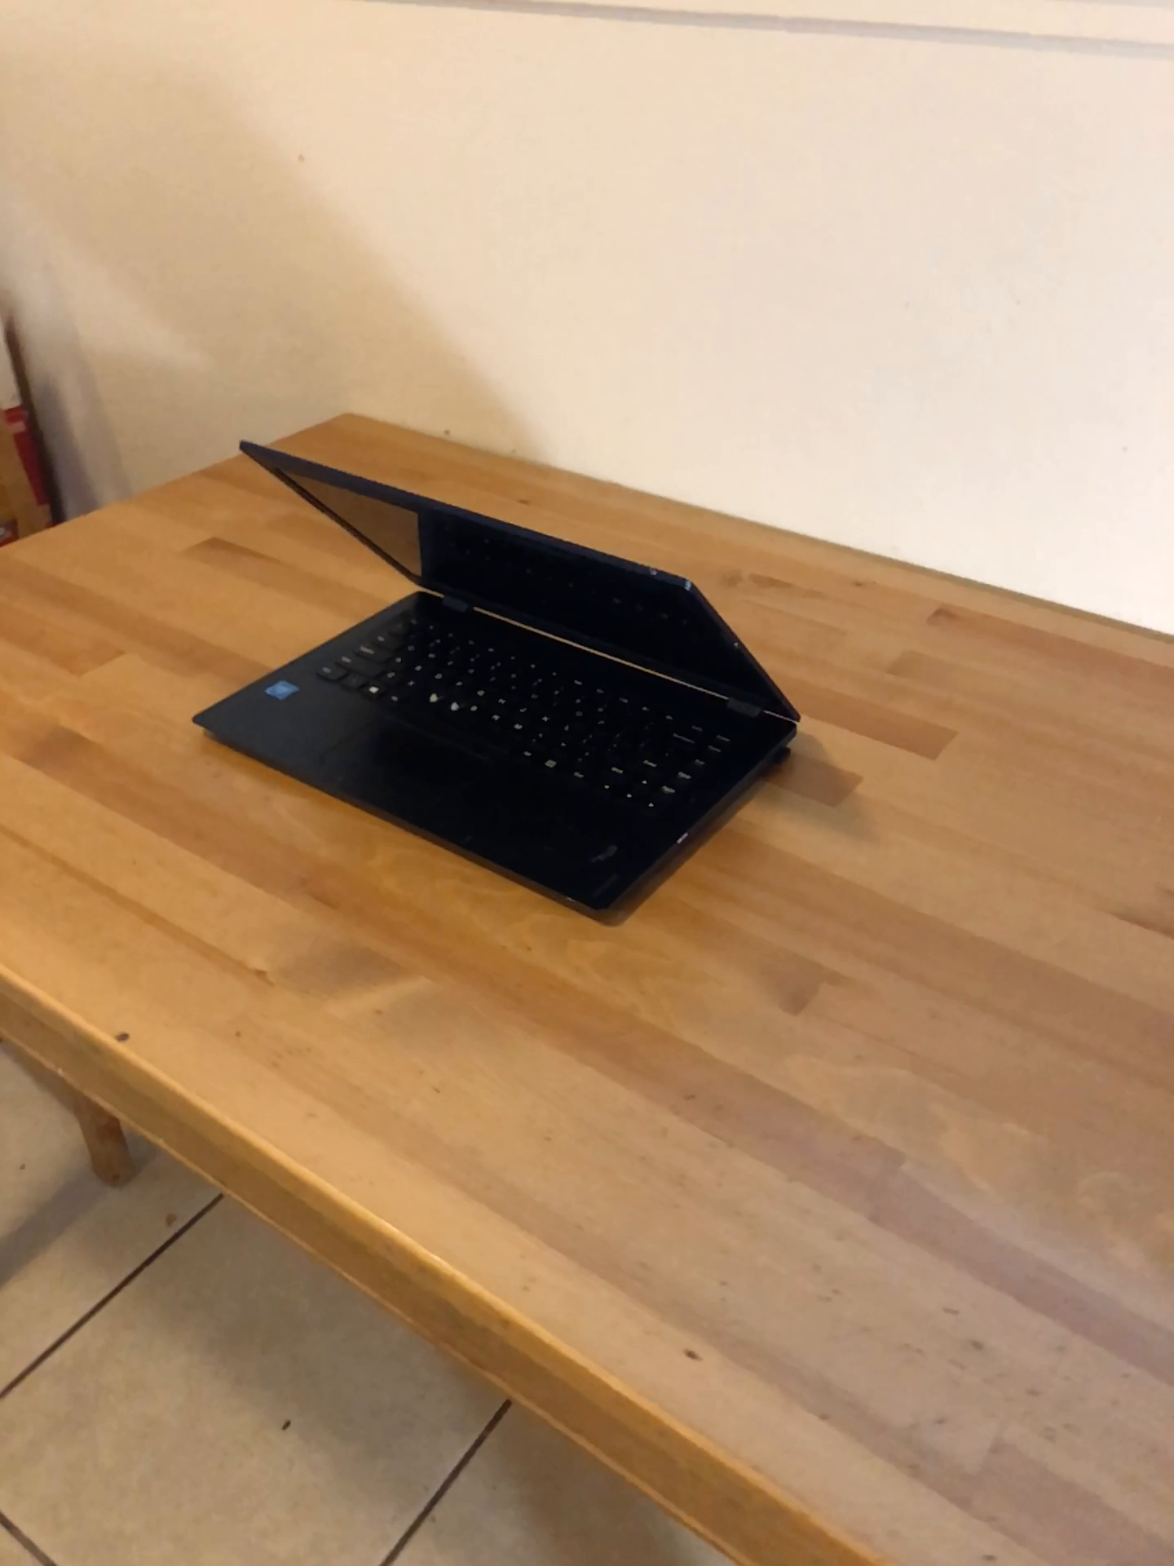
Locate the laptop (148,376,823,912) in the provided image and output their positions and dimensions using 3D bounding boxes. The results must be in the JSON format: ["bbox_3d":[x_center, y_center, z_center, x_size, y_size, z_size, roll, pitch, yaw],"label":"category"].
[{"bbox_3d":[-0.058,-0.104,0.778,0.317,0.161,0.216,23,42,28],"label":"laptop"}]
